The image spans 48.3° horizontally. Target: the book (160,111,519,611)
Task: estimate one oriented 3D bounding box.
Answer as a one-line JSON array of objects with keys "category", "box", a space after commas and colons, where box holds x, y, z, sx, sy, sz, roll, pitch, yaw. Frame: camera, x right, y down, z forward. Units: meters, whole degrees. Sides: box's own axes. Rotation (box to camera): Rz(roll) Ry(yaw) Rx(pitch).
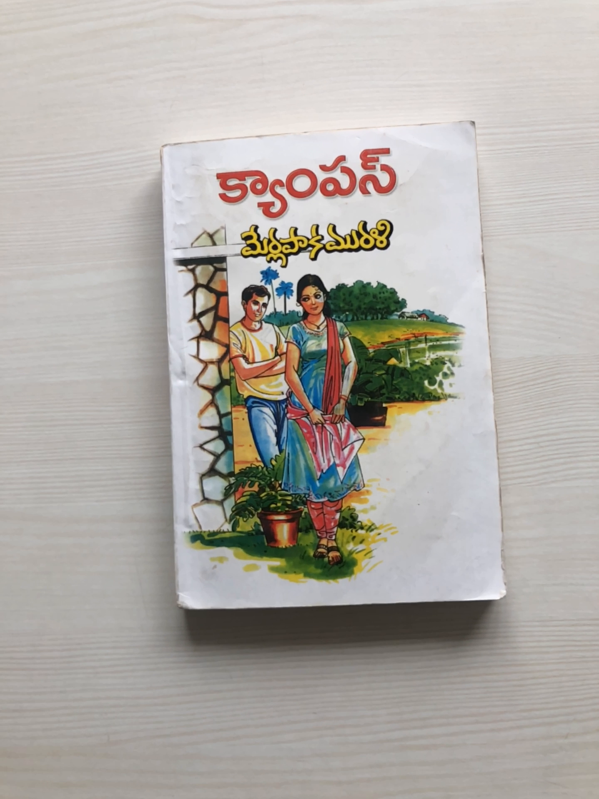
[{"category": "book", "box": [0.012, -0.013, 0.234, 0.113, 0.016, 0.163, -3, 87, 3]}]
